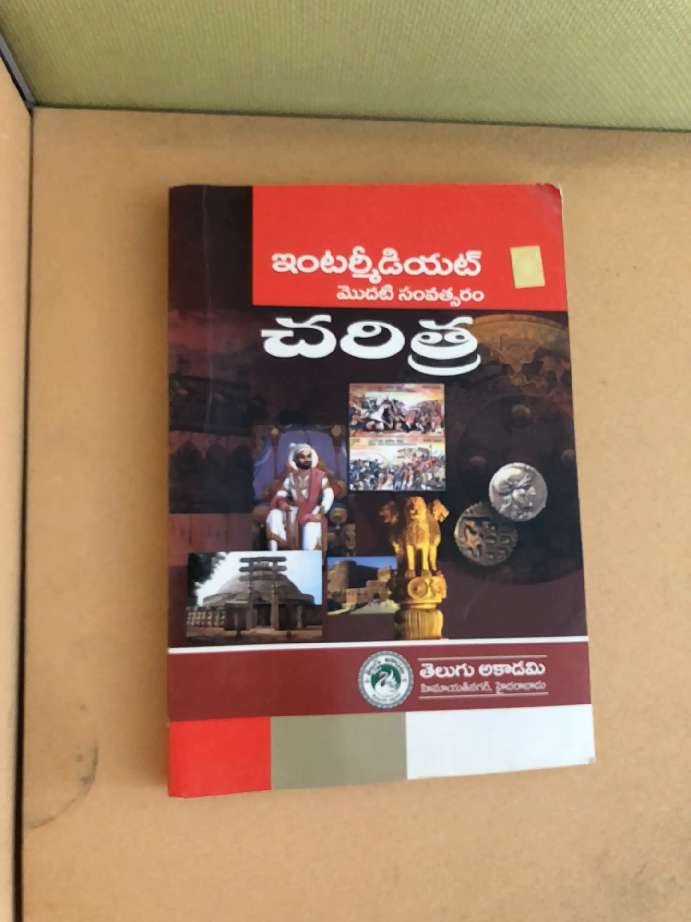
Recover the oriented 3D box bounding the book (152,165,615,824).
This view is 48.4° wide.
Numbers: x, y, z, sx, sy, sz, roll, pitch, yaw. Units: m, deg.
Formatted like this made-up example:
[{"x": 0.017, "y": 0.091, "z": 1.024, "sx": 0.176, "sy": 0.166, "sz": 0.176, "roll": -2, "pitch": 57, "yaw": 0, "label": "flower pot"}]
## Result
[{"x": 0.014, "y": 0.007, "z": 0.364, "sx": 0.200, "sy": 0.030, "sz": 0.290, "roll": -1, "pitch": 83, "yaw": -6, "label": "book"}]
